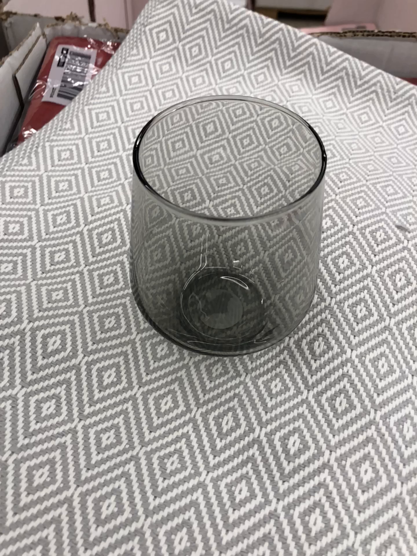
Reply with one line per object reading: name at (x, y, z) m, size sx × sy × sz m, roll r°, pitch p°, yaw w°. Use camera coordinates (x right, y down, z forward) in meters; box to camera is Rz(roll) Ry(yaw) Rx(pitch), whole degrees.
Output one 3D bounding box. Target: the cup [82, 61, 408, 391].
cup at (0.006, -0.021, 0.185) m, size 0.080 × 0.080 × 0.080 m, roll 2°, pitch 52°, yaw -2°
